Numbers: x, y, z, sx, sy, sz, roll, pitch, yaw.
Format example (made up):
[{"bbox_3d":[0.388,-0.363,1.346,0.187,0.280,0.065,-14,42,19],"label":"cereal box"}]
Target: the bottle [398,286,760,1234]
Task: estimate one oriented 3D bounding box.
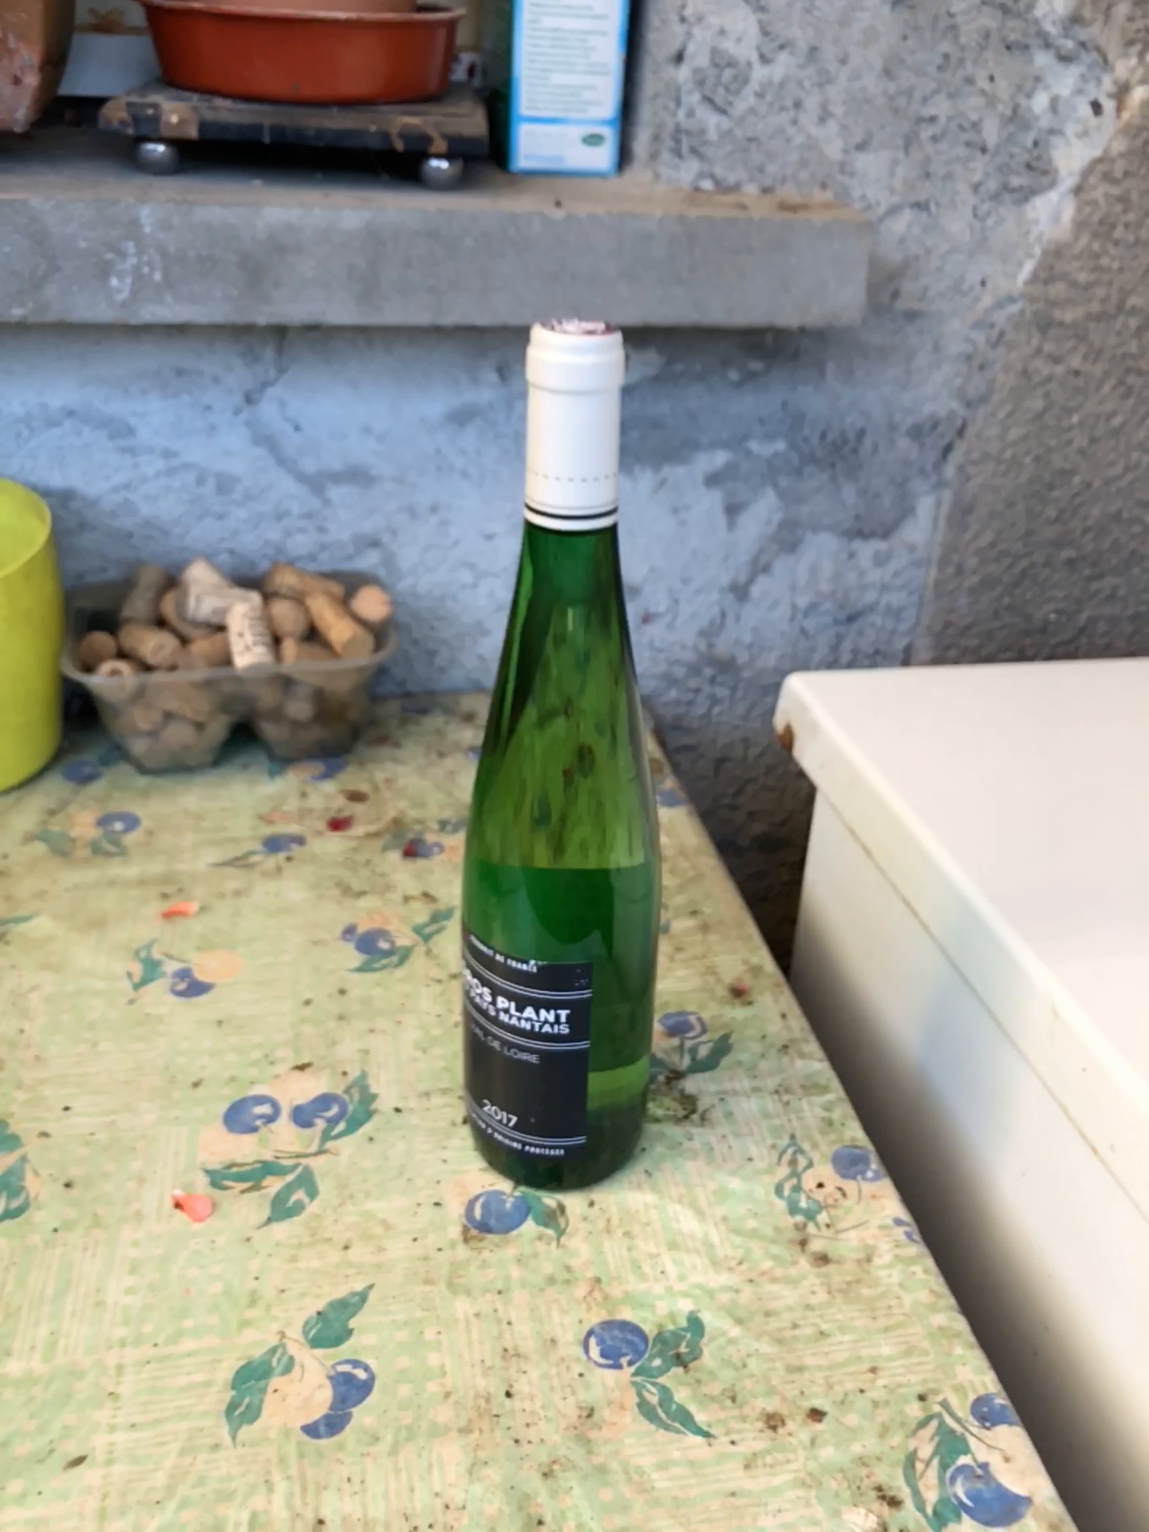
[{"bbox_3d":[-0.005,0.010,0.473,0.080,0.338,0.080,2,29,-1],"label":"bottle"}]
